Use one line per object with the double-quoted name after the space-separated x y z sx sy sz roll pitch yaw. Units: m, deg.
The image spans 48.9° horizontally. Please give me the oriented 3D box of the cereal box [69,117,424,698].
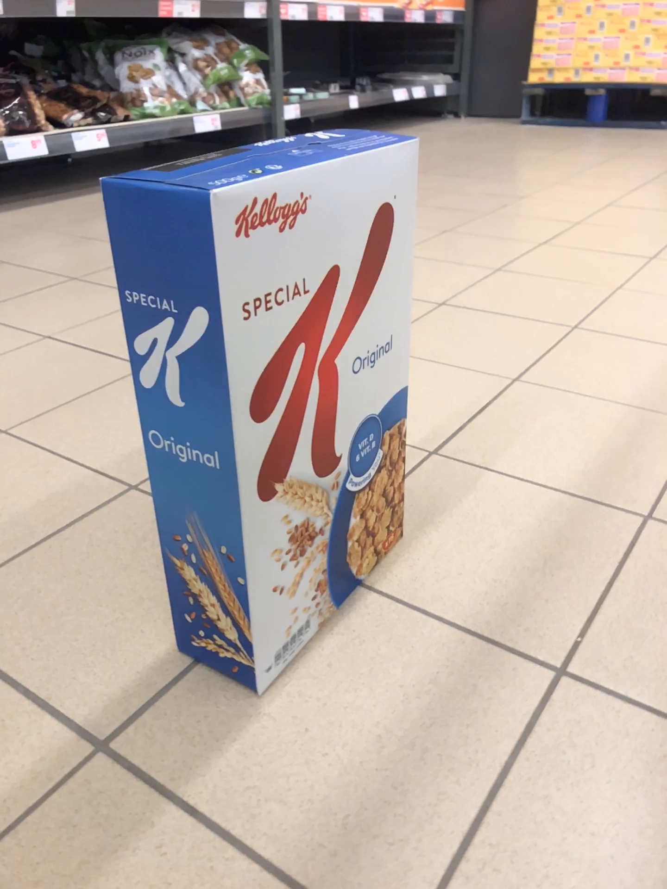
-0.029 -0.033 0.460 0.070 0.298 0.211 16 33 30 "cereal box"
